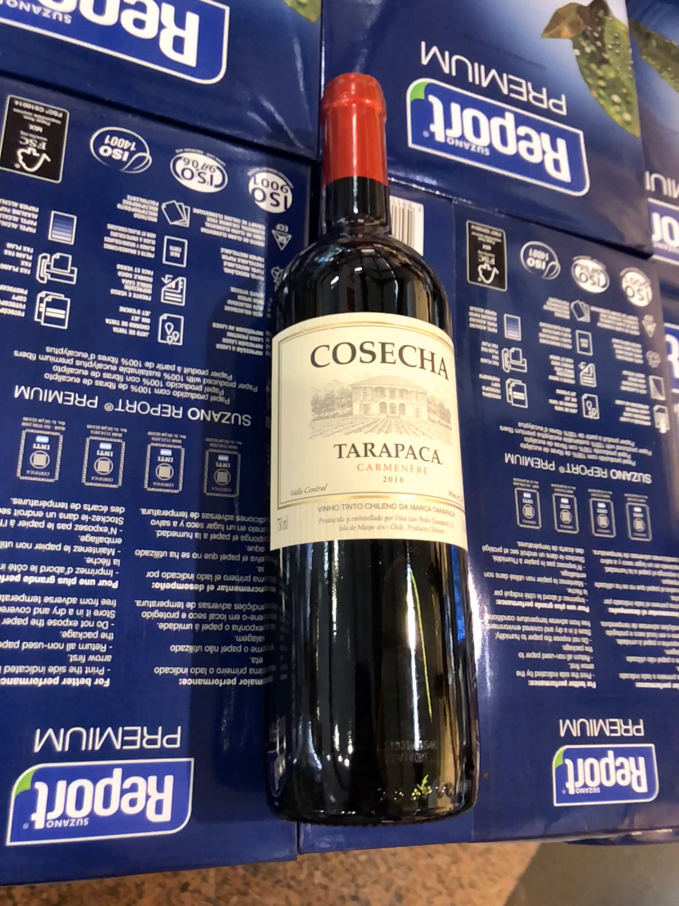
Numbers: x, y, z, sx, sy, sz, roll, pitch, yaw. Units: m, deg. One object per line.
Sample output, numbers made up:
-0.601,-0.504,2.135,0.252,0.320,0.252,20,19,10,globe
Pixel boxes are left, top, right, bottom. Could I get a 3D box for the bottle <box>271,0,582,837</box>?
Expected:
0.022,-0.041,0.297,0.080,0.060,0.330,5,71,-23,bottle
